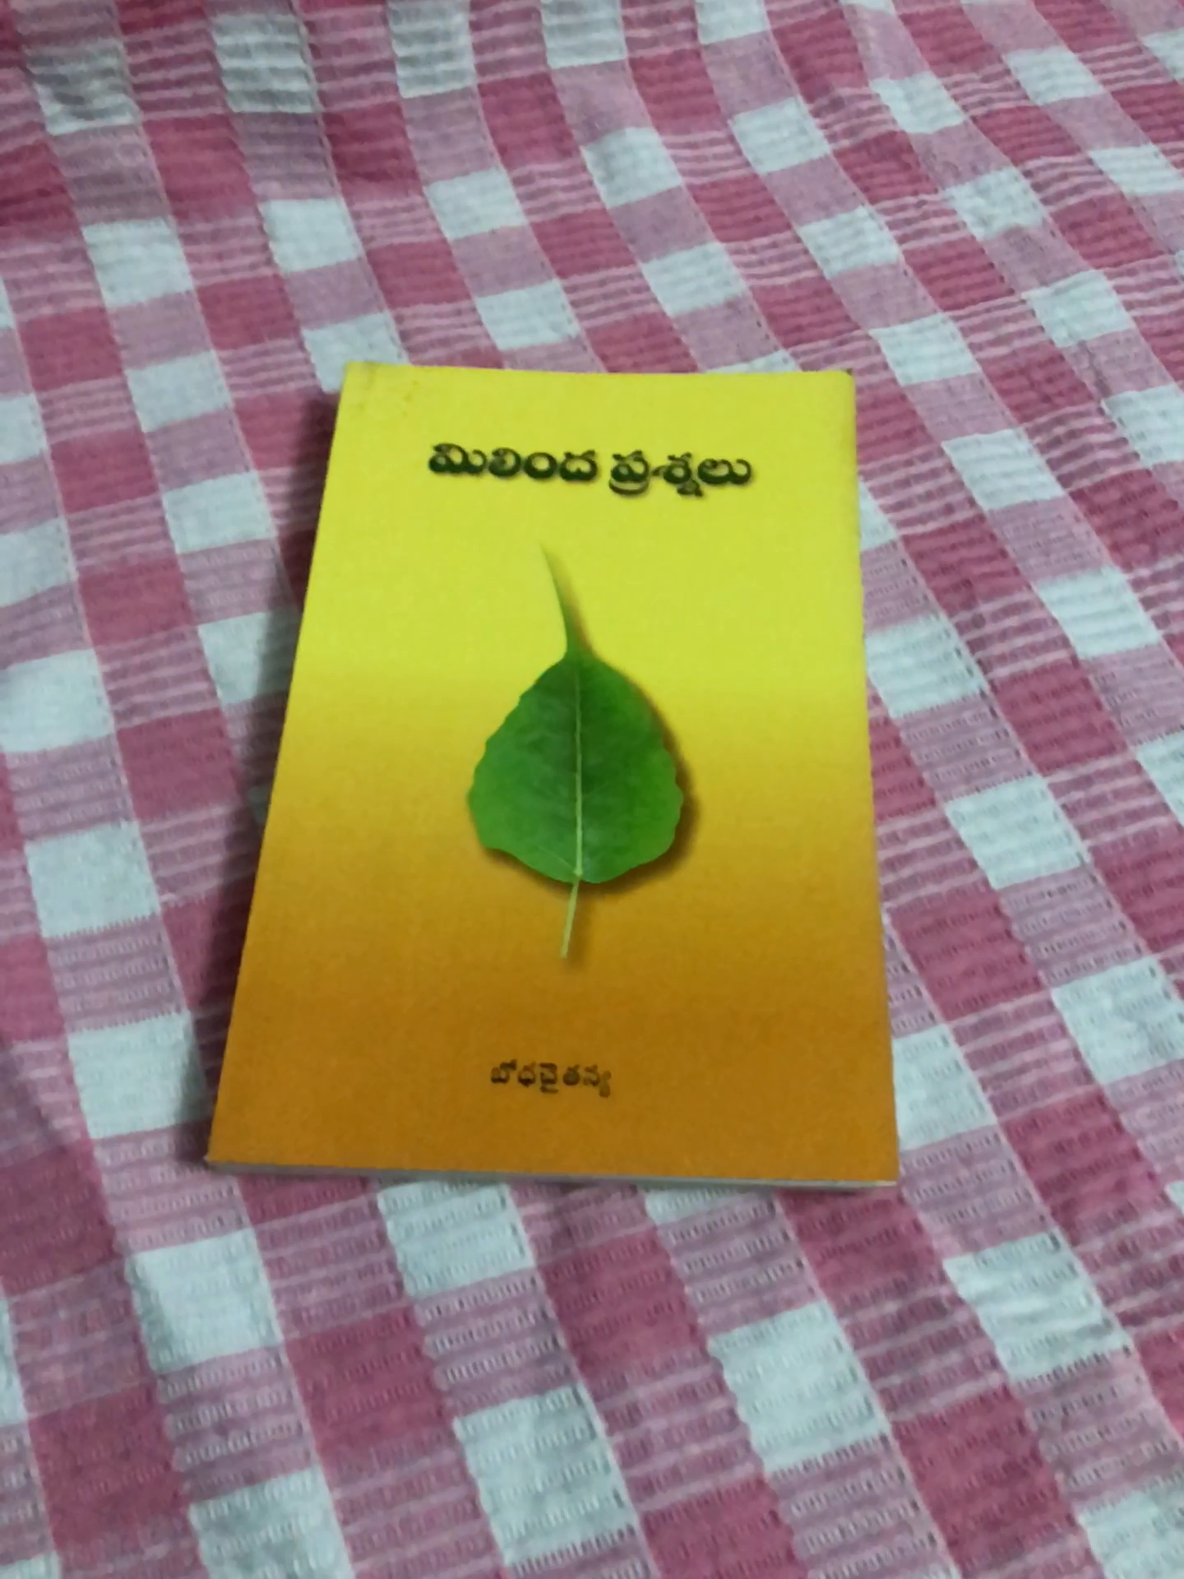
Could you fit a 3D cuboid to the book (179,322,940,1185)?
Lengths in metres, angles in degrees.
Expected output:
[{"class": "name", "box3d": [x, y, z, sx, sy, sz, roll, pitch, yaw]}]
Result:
[{"class": "book", "box3d": [-0.002, -0.022, 0.317, 0.150, 0.020, 0.220, 2, 63, 0]}]
